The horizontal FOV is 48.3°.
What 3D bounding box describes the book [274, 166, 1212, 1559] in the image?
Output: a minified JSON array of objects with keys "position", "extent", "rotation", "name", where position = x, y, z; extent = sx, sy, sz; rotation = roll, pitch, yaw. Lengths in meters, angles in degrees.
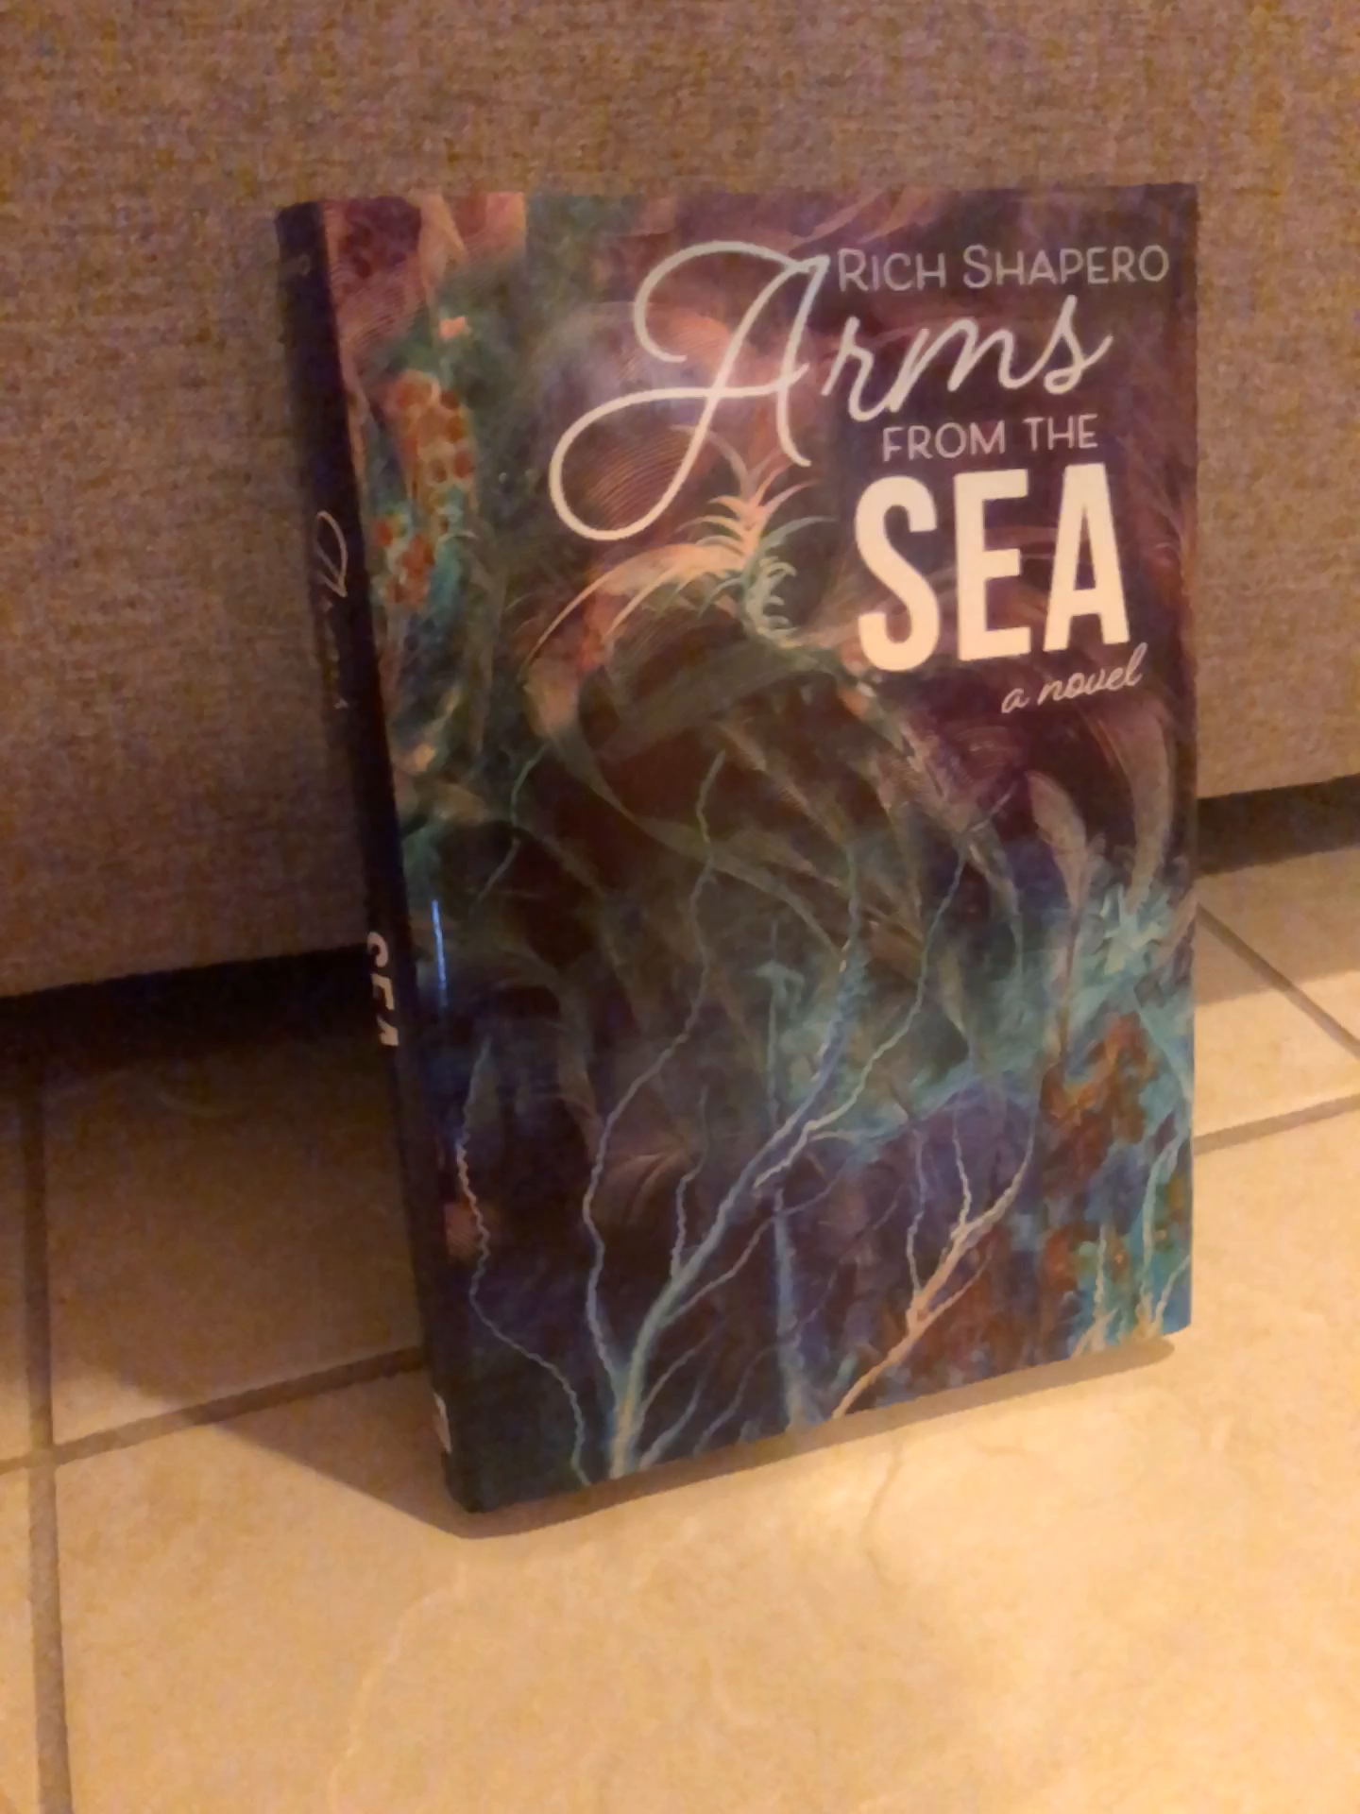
[{"position":[0.022,-0.009,0.280],"extent":[0.157,0.228,0.030],"rotation":[-9,14,-16],"name":"book"}]
